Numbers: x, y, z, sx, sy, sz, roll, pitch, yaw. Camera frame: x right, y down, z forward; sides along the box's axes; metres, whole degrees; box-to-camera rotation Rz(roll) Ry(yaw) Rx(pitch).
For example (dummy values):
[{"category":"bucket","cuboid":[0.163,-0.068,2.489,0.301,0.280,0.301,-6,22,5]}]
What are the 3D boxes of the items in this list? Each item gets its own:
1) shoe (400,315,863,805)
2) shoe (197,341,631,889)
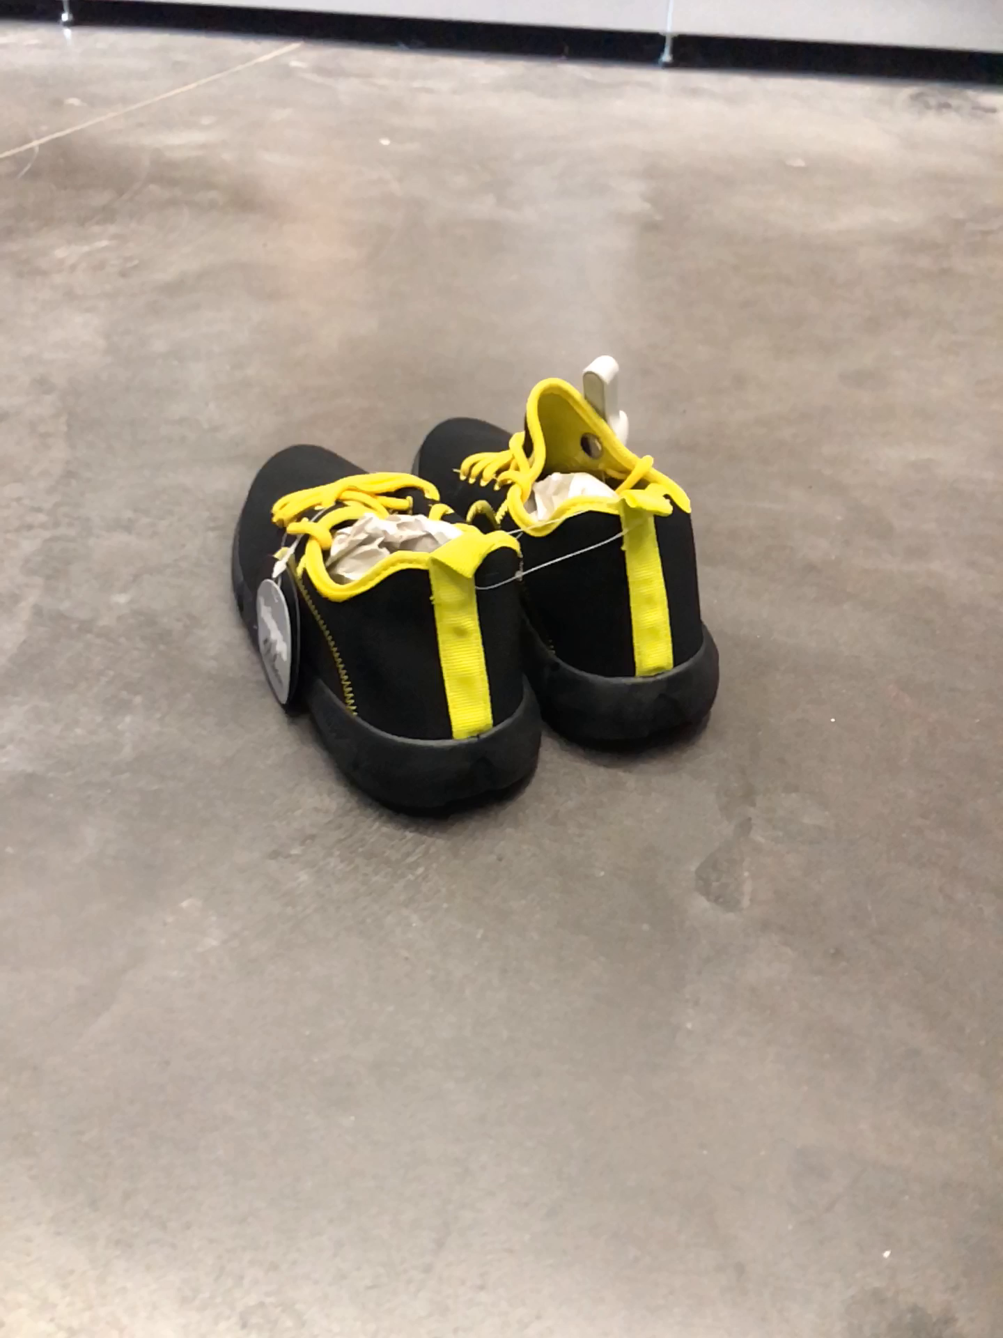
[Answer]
[{"category":"shoe","cuboid":[0.038,-0.063,0.487,0.090,0.099,0.231,-14,40,-19]},{"category":"shoe","cuboid":[-0.047,-0.039,0.449,0.090,0.099,0.231,-14,40,-19]}]
